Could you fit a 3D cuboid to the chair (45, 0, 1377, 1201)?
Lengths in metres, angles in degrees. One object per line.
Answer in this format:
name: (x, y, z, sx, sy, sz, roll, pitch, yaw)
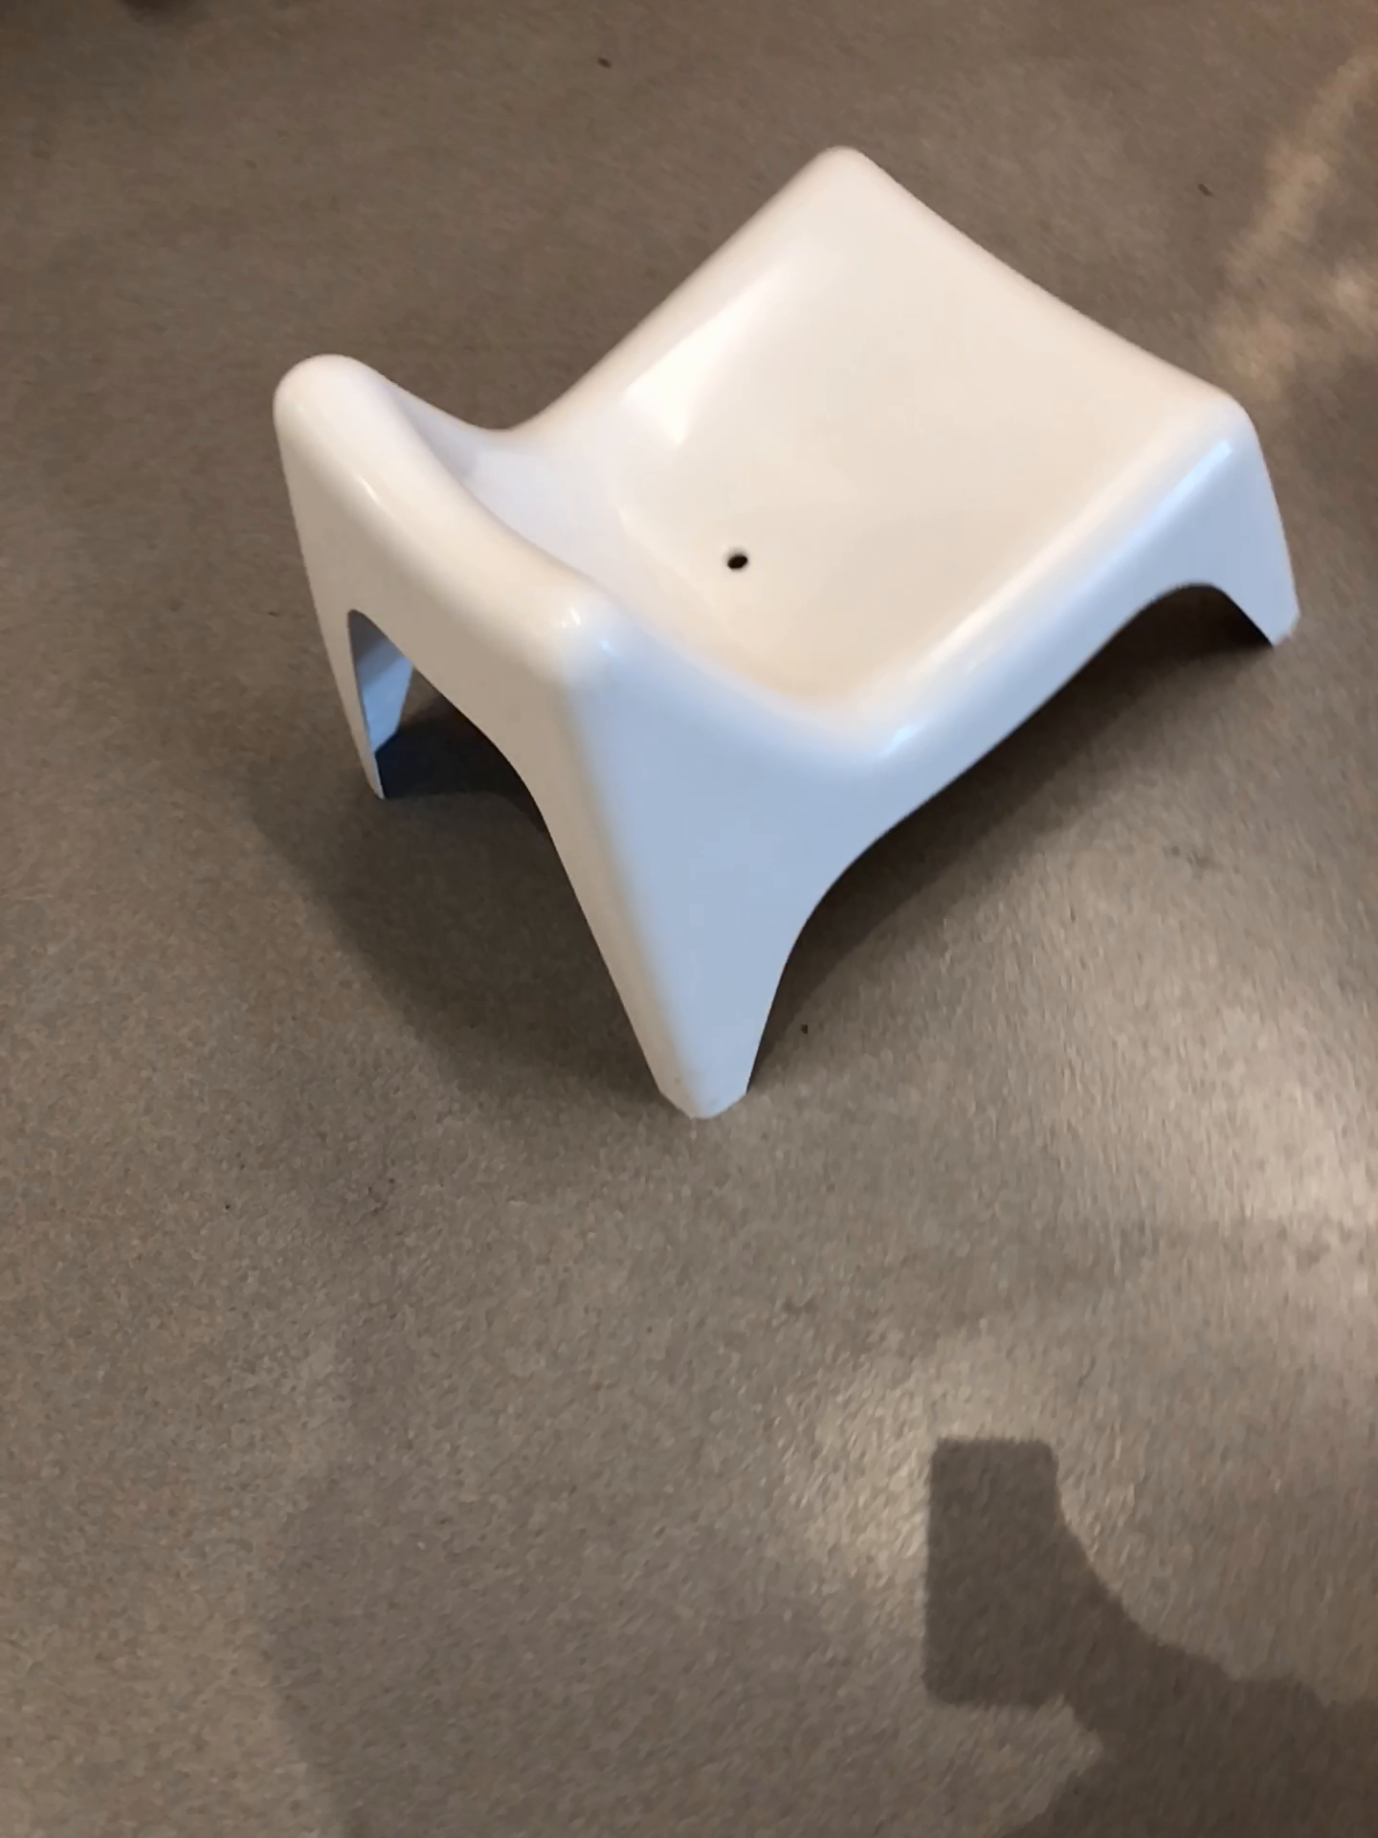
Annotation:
chair: (0.078, -0.276, 1.031, 0.690, 0.400, 0.531, -45, 69, -7)
